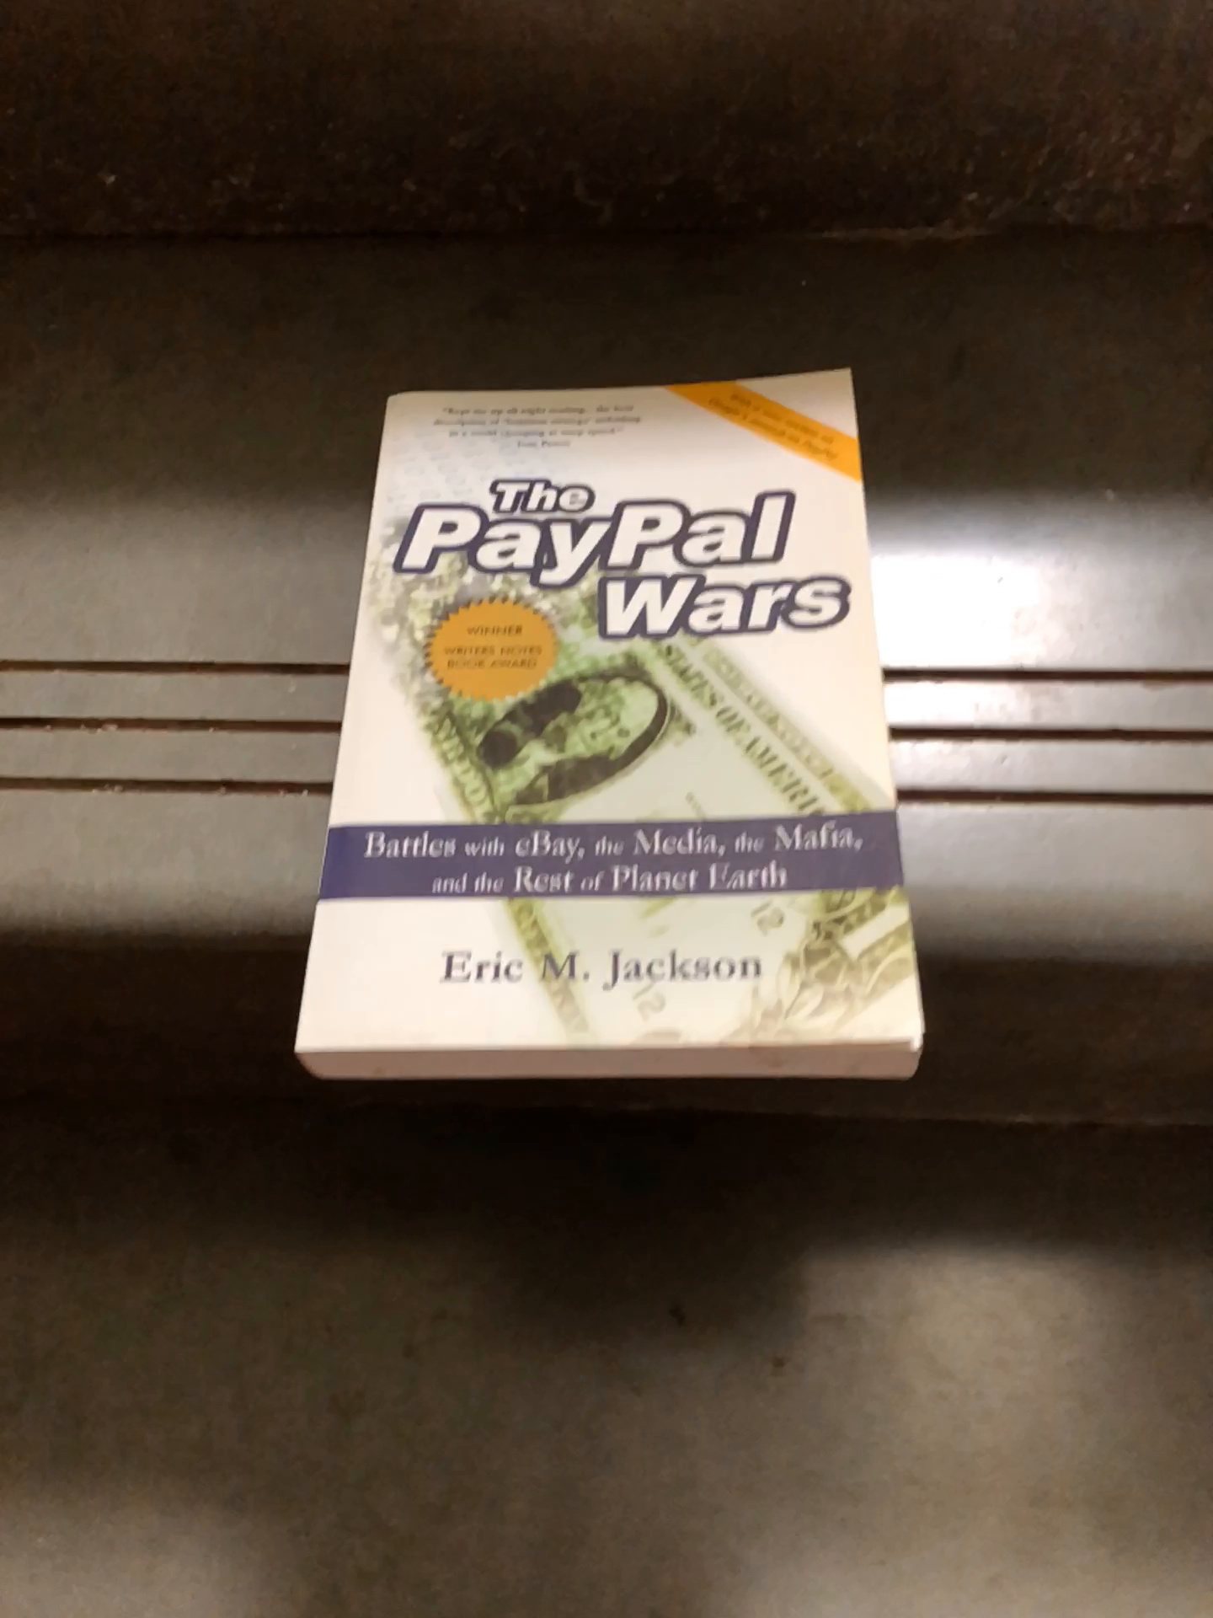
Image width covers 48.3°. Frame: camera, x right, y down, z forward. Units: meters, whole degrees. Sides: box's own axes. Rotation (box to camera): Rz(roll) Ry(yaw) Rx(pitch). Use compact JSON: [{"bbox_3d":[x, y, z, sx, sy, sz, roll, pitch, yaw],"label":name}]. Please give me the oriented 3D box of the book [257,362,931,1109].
[{"bbox_3d":[-0.002,-0.031,0.369,0.150,0.030,0.221,-1,59,3],"label":"book"}]
